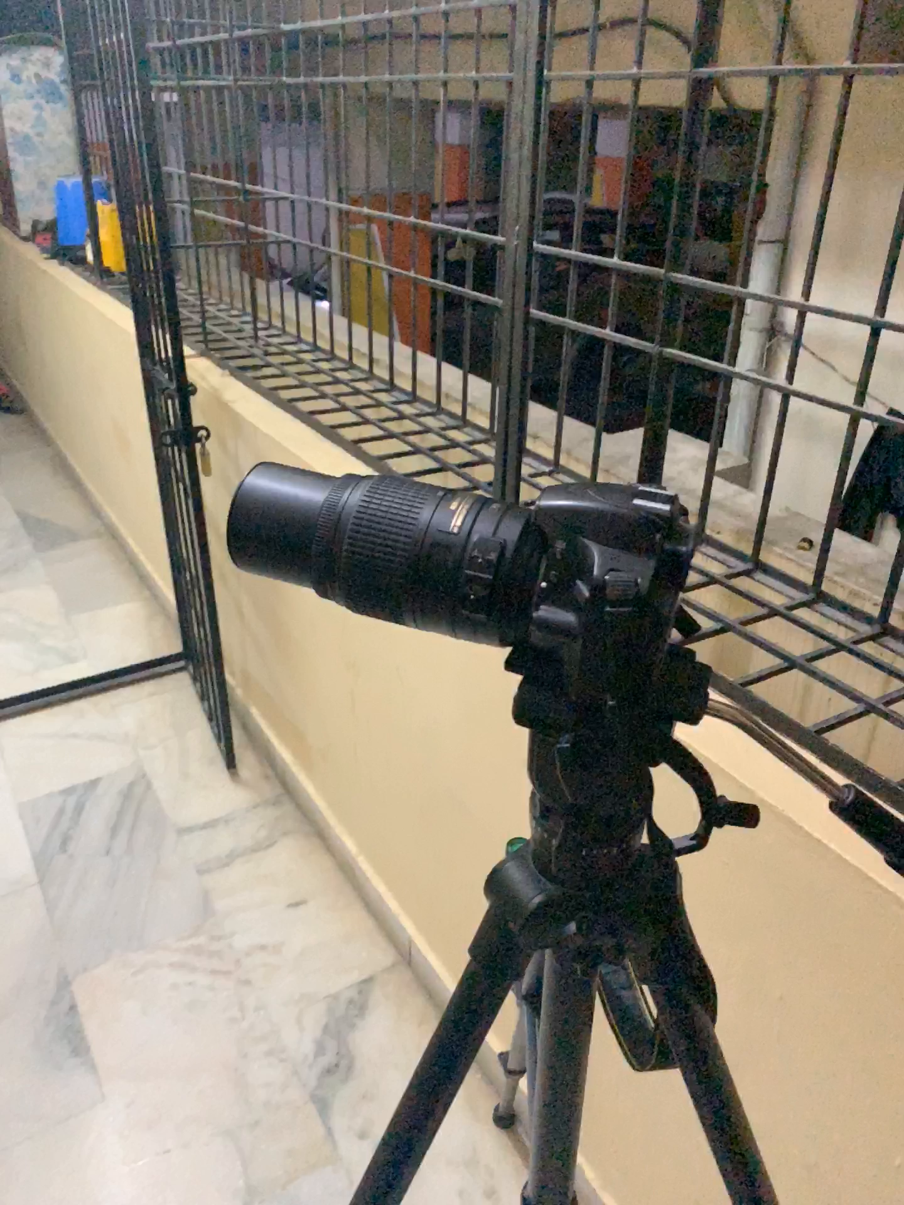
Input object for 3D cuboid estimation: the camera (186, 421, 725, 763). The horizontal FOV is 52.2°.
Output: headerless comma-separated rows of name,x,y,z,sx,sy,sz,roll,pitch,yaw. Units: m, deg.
camera,0.006,-0.017,0.460,0.230,0.090,0.120,10,30,17
